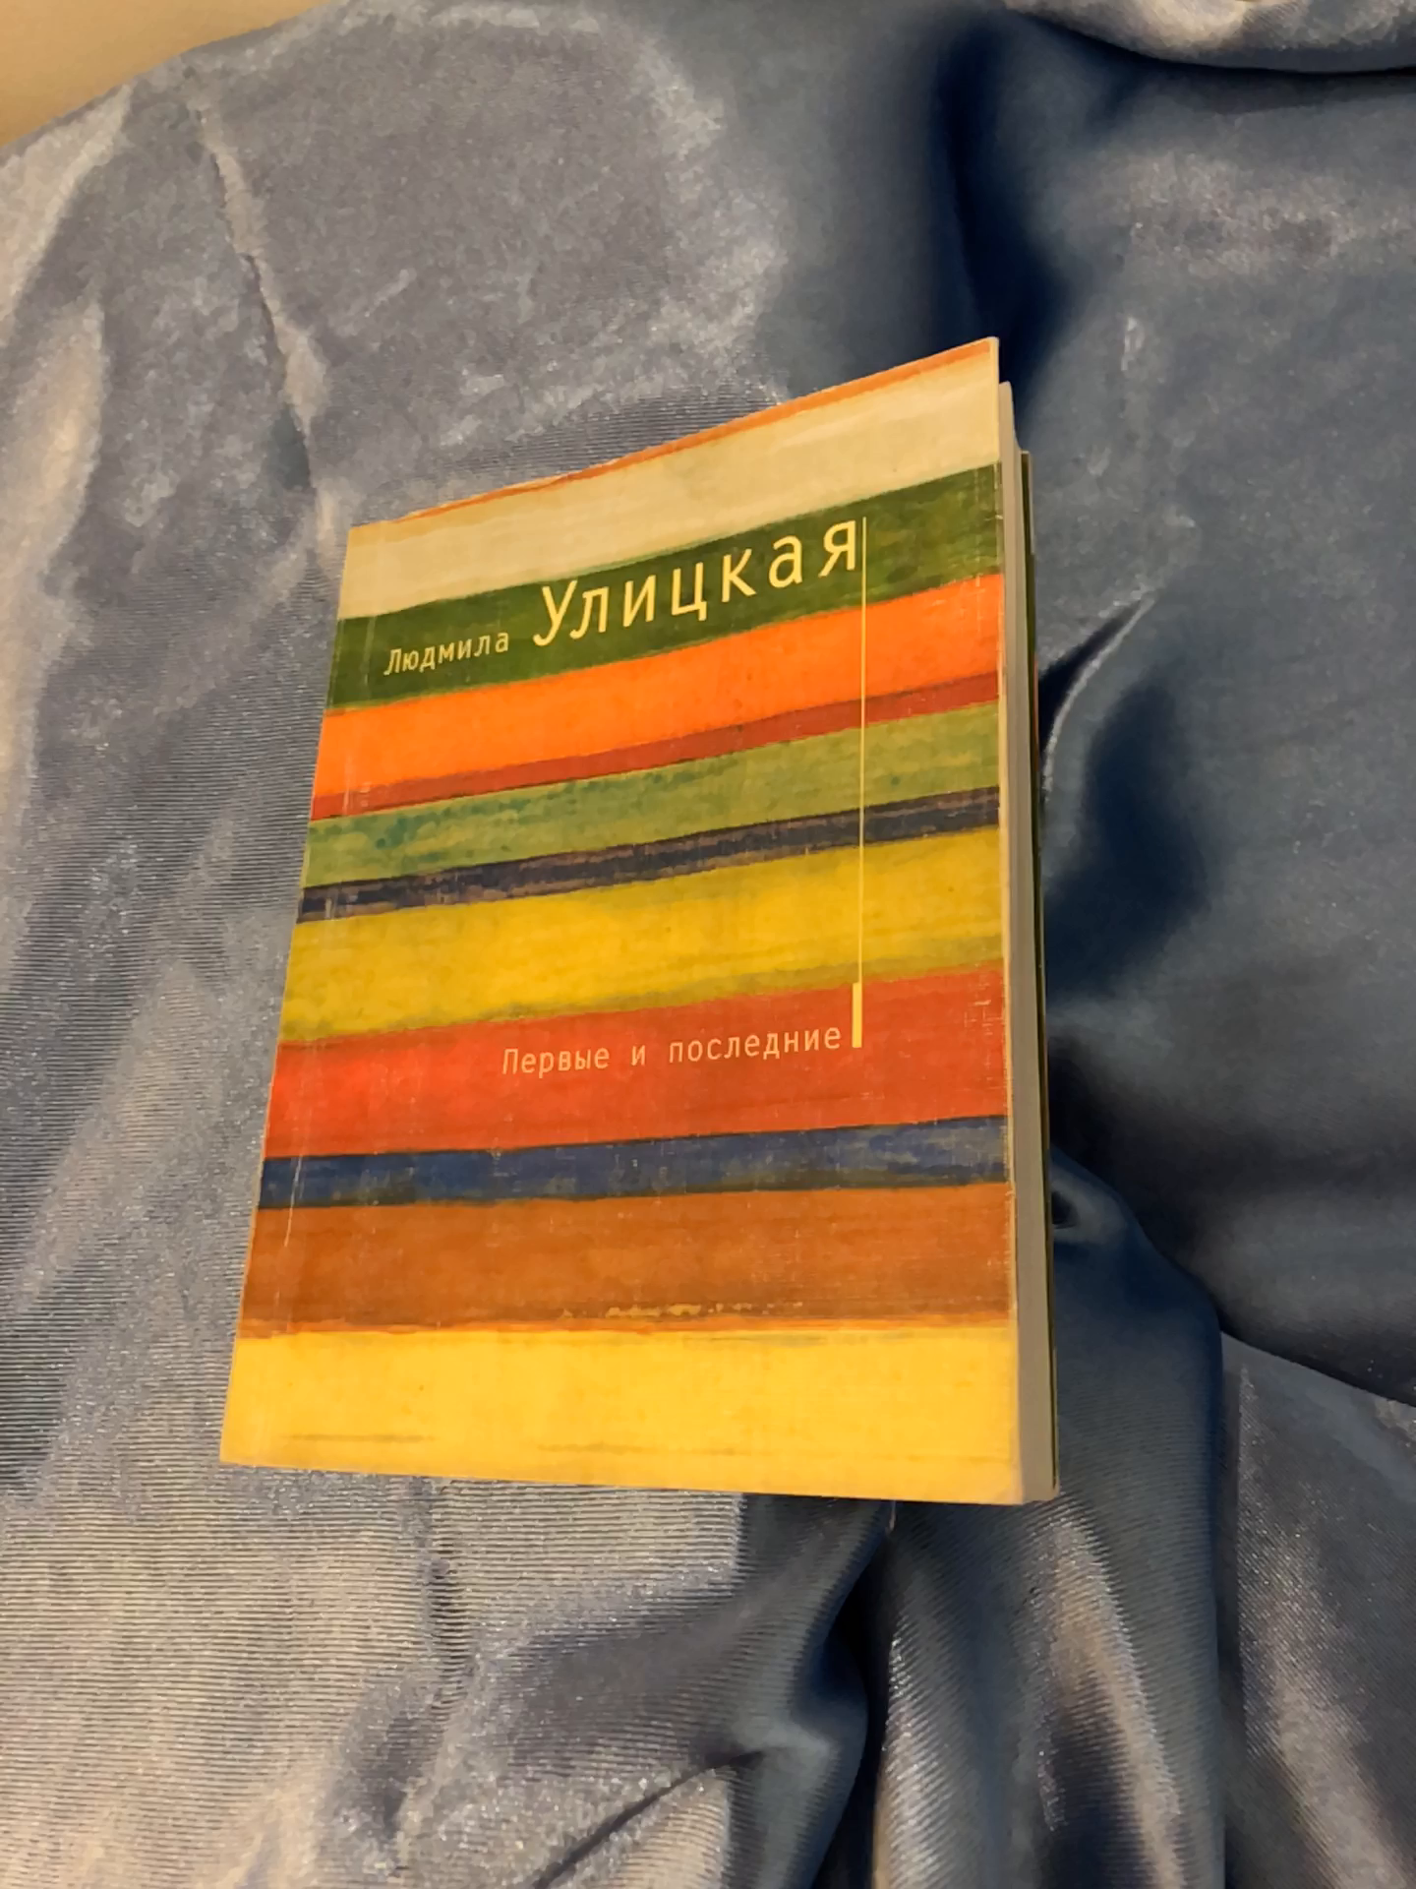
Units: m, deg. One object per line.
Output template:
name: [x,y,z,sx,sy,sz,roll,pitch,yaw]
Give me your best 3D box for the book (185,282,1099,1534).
book: [-0.011,-0.004,0.239,0.129,0.026,0.167,-7,70,28]
